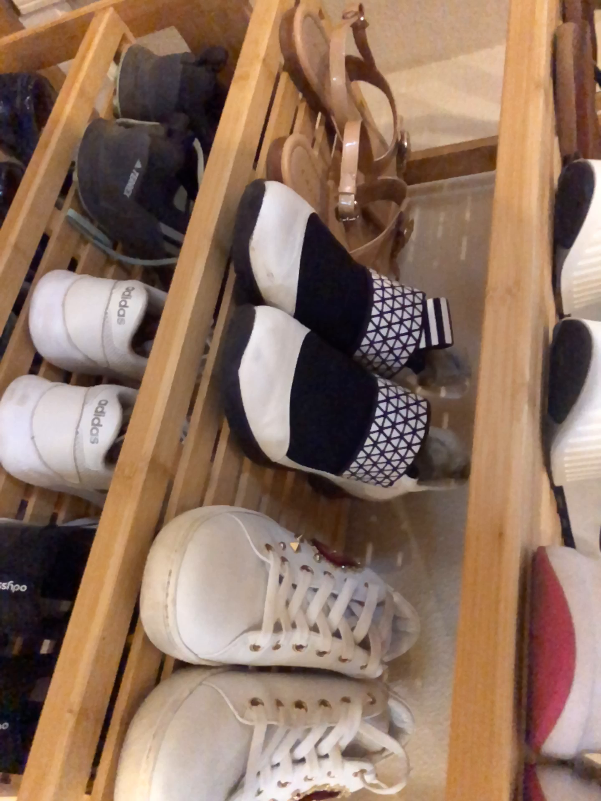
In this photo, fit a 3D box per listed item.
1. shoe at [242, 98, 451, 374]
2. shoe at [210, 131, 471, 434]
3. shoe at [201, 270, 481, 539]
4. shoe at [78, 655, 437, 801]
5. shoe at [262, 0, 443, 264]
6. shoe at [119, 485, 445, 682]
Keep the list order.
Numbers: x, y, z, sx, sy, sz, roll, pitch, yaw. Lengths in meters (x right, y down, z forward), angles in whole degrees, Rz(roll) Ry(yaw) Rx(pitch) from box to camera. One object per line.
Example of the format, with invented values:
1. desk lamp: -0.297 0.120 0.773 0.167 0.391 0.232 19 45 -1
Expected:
1. shoe: 0.059 -0.132 0.621 0.264 0.081 0.099 43 51 -51
2. shoe: 0.049 -0.070 0.519 0.264 0.068 0.086 40 53 -45
3. shoe: 0.053 0.024 0.503 0.282 0.076 0.096 37 56 -51
4. shoe: -0.002 0.212 0.401 0.244 0.068 0.092 30 61 -50
5. shoe: 0.068 -0.260 0.684 0.264 0.074 0.092 43 51 -51
6. shoe: 0.010 0.131 0.444 0.257 0.068 0.092 30 61 -50
